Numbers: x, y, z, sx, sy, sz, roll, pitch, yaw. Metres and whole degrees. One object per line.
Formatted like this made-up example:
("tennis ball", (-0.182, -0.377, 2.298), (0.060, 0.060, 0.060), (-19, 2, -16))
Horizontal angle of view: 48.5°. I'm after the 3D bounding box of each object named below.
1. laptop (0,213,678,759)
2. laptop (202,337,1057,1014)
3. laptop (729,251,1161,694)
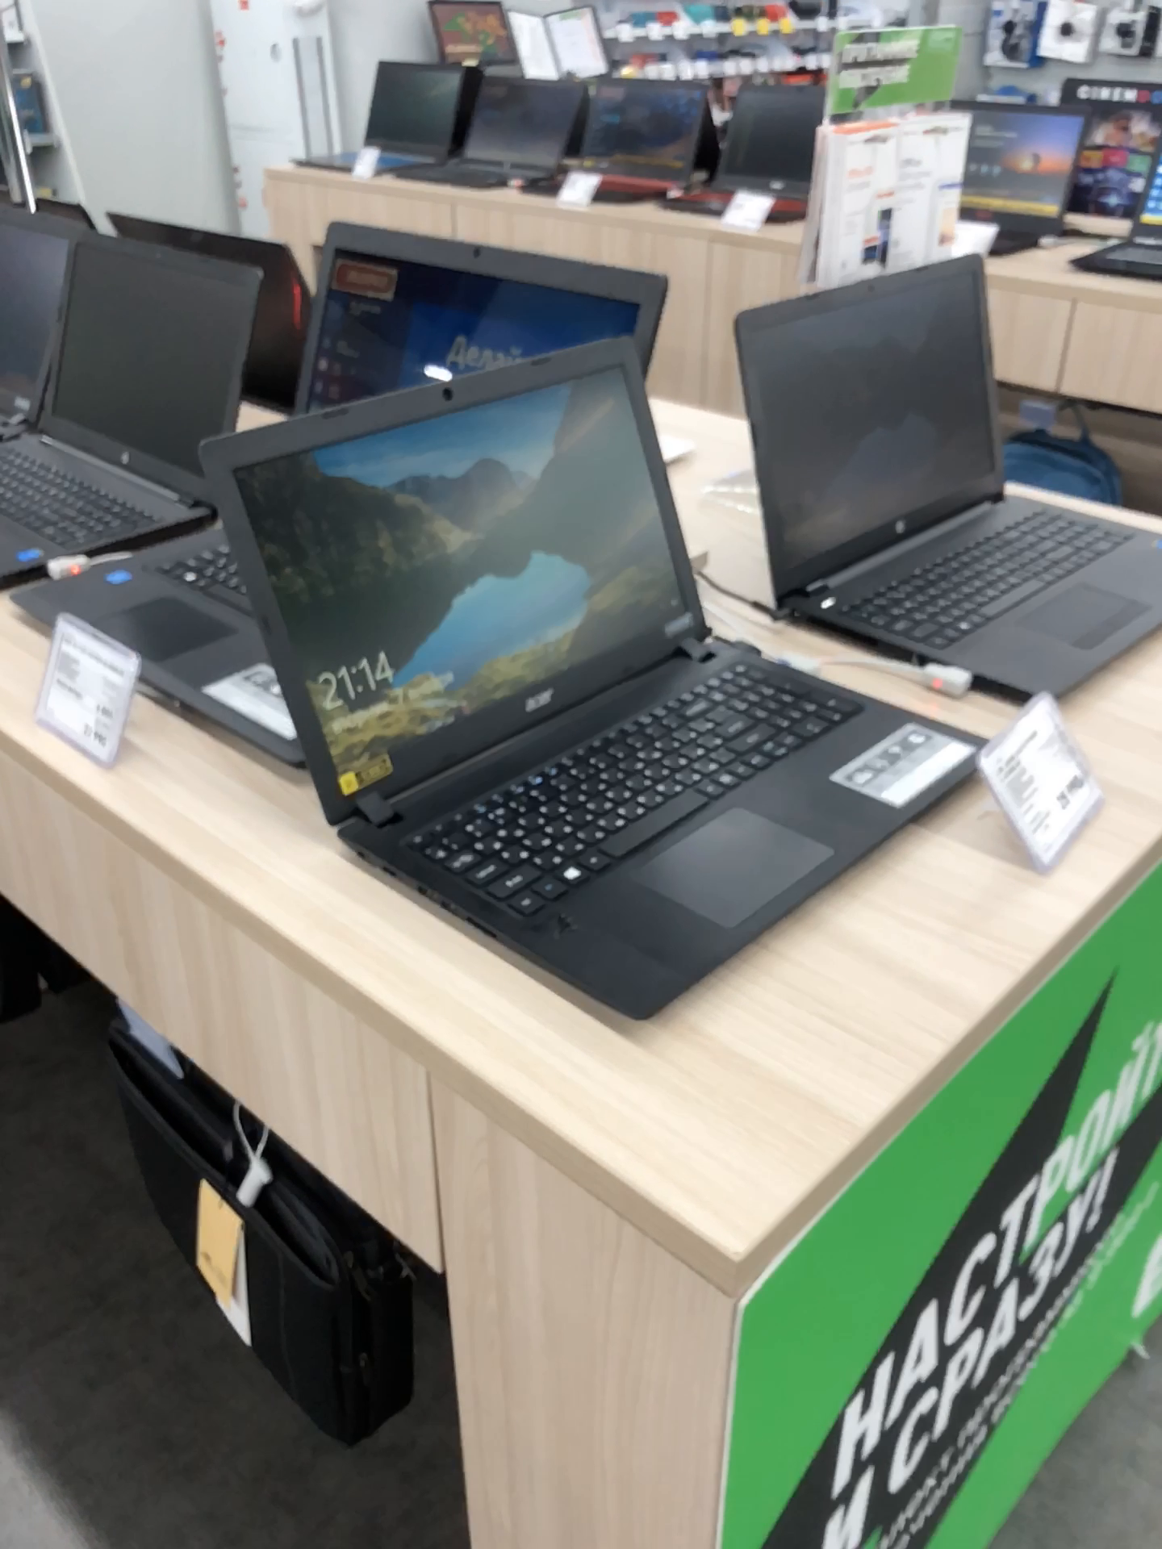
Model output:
("laptop", (-0.209, -0.273, 1.060), (0.402, 0.250, 0.396), (26, 42, 36))
("laptop", (0.034, -0.106, 0.824), (0.348, 0.219, 0.375), (26, 40, 36))
("laptop", (0.370, -0.280, 1.102), (0.295, 0.220, 0.360), (28, 42, 35))
